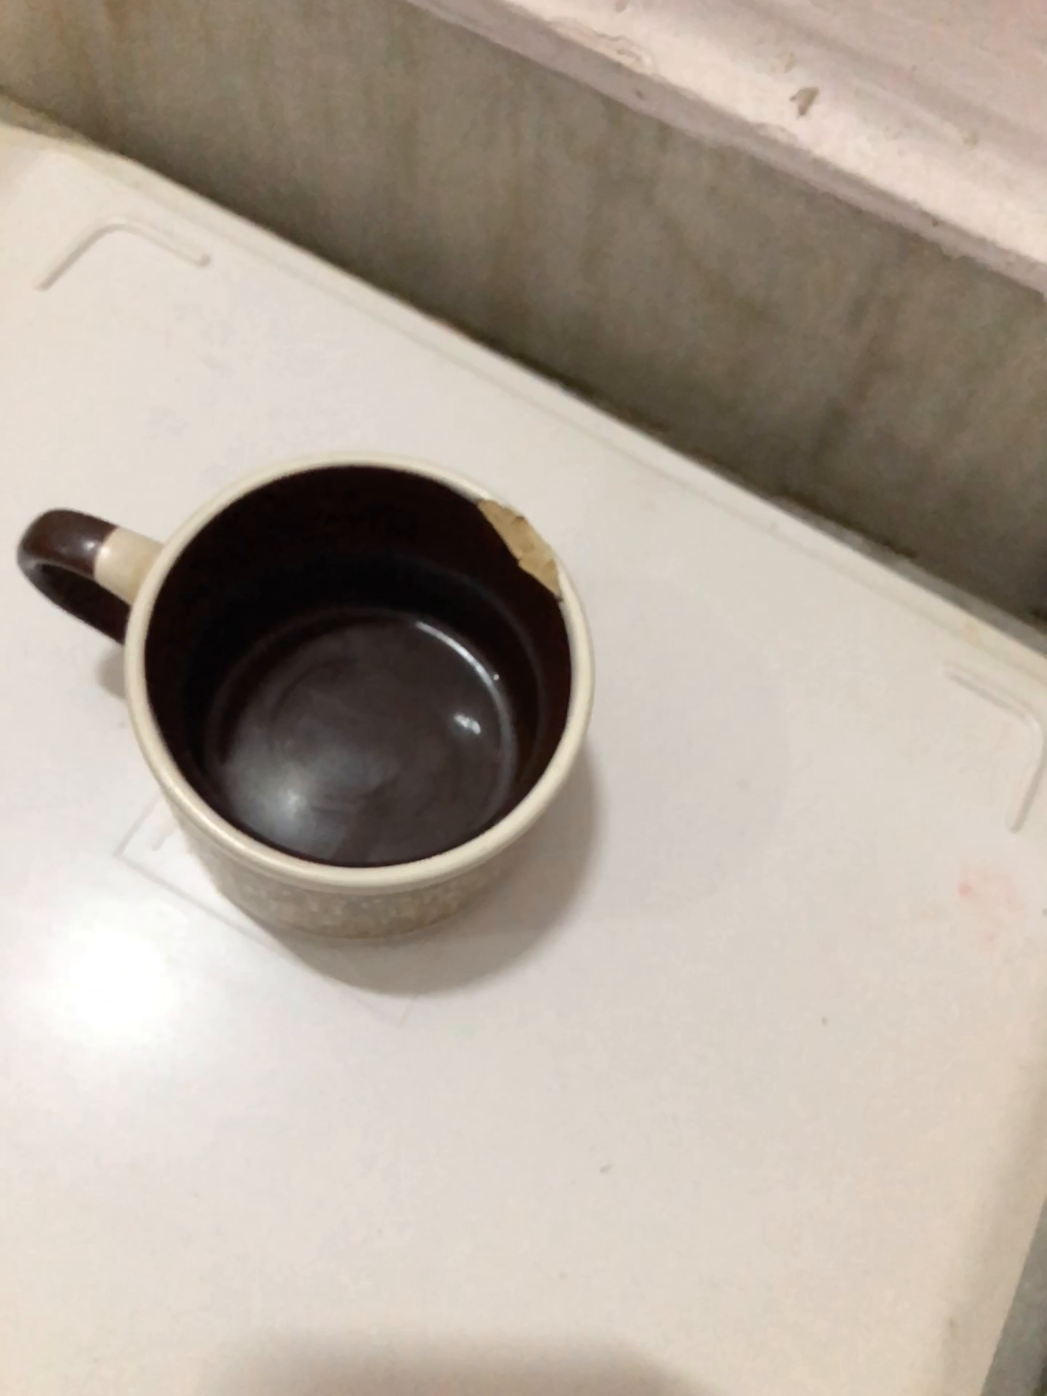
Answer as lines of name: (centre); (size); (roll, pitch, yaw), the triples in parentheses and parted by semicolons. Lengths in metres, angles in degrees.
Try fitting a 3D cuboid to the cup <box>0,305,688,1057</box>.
cup: (-0.039, -0.001, 0.213); (0.100, 0.060, 0.080); (30, 66, 5)
